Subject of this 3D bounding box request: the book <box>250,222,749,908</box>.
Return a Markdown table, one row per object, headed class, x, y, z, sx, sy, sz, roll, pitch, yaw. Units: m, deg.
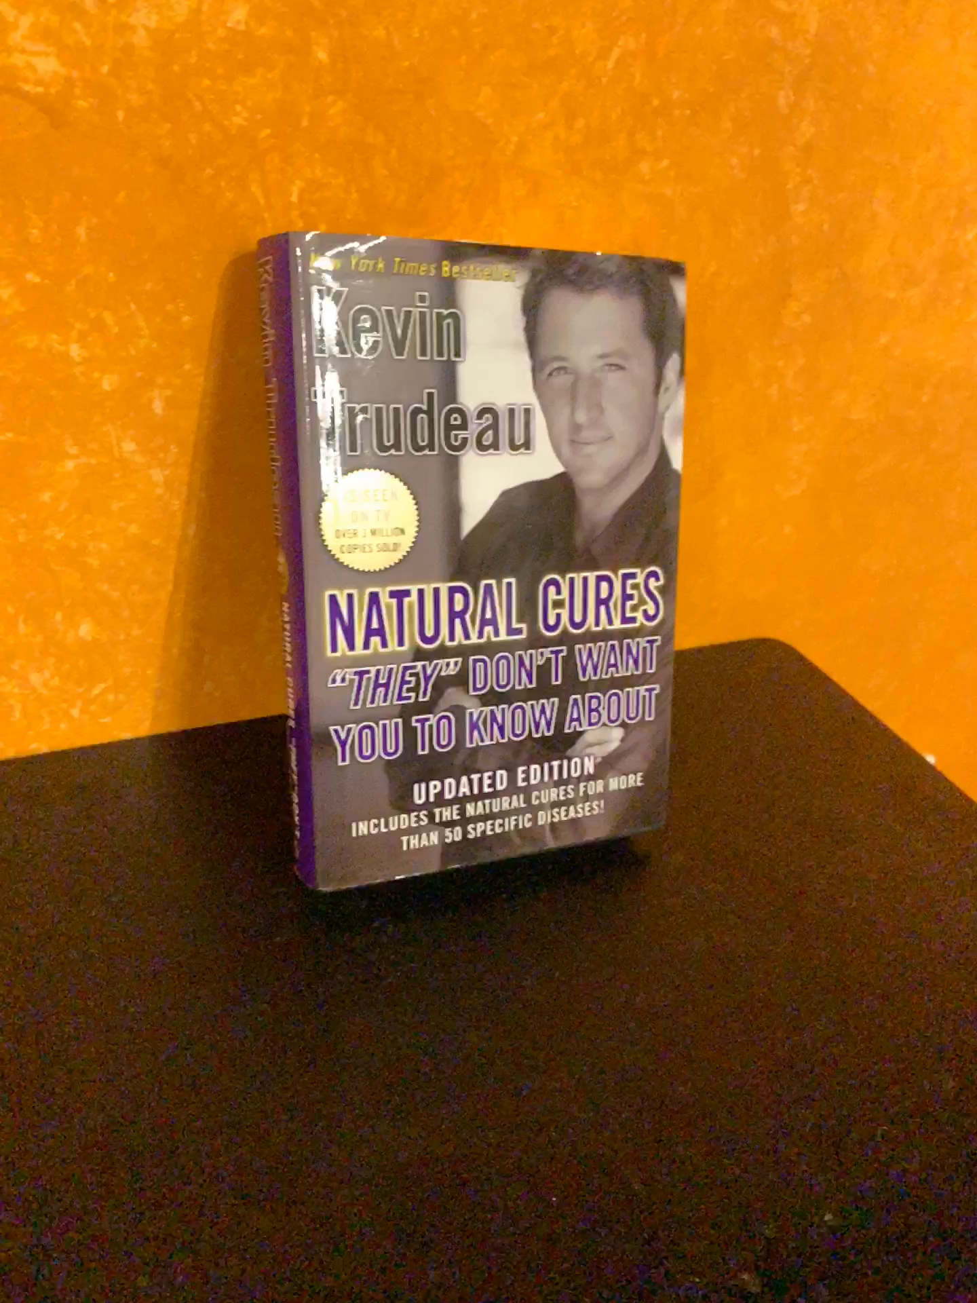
| class | x | y | z | sx | sy | sz | roll | pitch | yaw |
| --- | --- | --- | --- | --- | --- | --- | --- | --- | --- |
| book | 0.009 | -0.035 | 0.395 | 0.180 | 0.229 | 0.050 | -6 | 12 | -23 |
